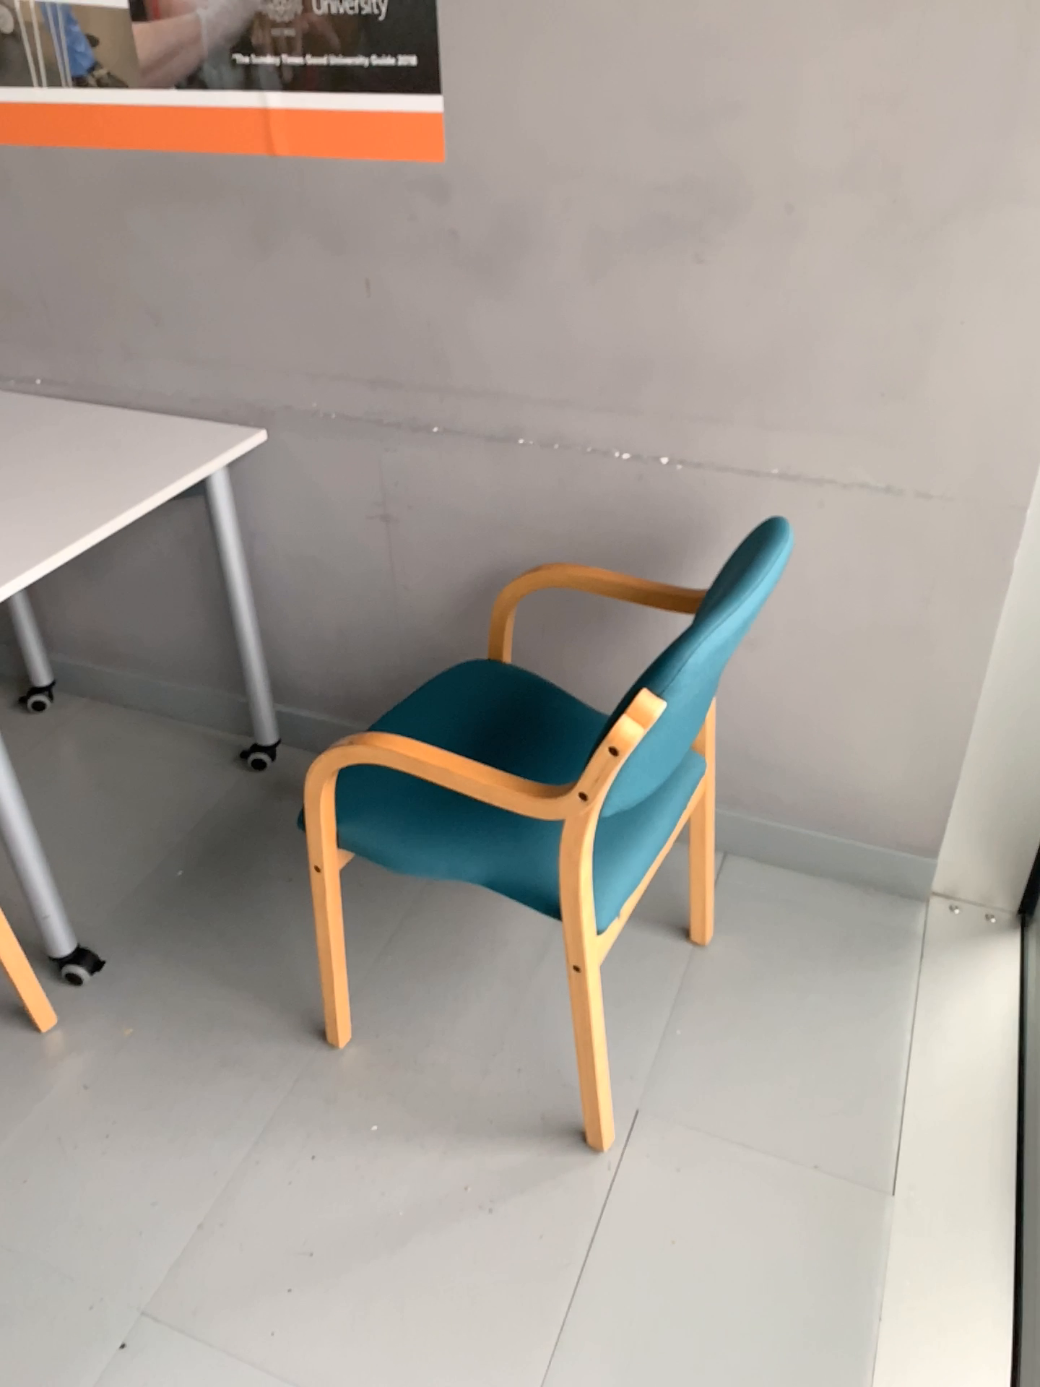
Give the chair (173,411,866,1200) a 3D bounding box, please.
[{"bbox_3d":[0.052,0.094,1.531,0.641,0.723,0.685,13,36,21],"label":"chair"}]
